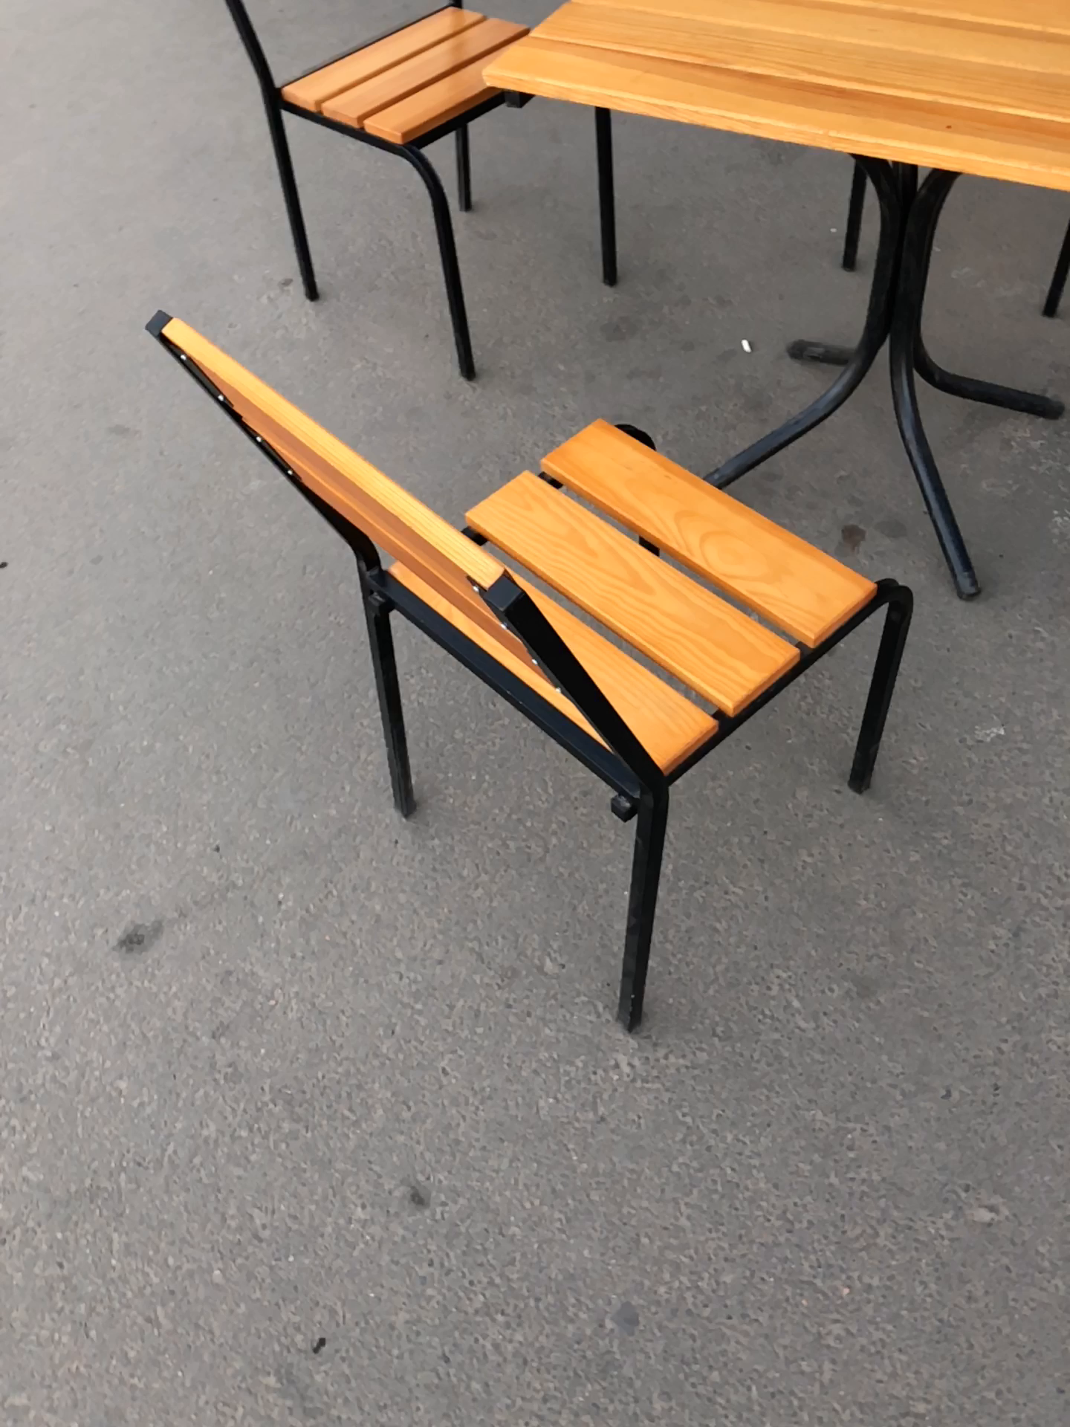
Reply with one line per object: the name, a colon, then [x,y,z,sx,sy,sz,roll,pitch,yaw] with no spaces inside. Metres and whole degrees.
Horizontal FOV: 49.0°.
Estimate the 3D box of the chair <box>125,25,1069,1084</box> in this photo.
chair: [0.094,-0.137,1.087,0.551,0.638,0.491,-37,56,-21]
